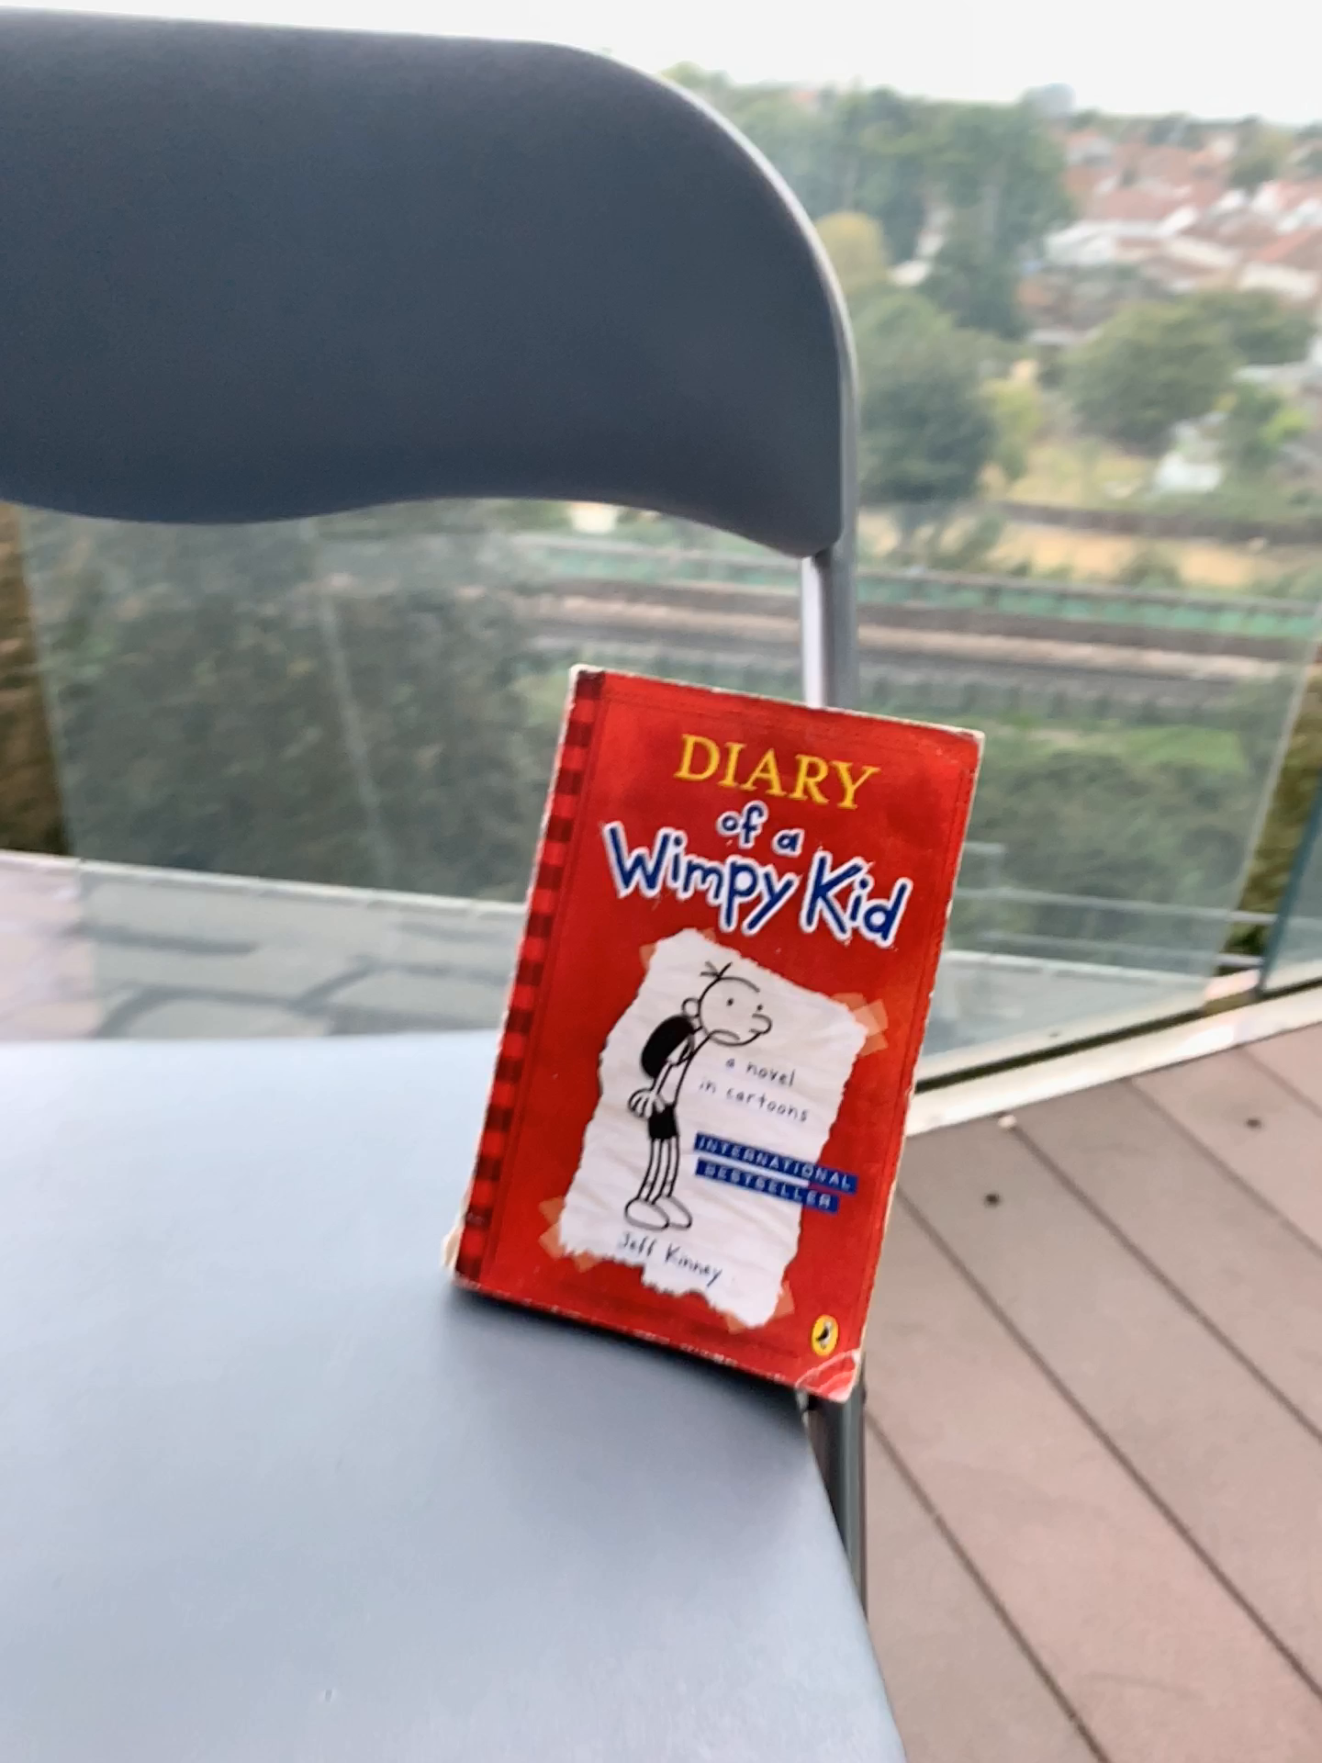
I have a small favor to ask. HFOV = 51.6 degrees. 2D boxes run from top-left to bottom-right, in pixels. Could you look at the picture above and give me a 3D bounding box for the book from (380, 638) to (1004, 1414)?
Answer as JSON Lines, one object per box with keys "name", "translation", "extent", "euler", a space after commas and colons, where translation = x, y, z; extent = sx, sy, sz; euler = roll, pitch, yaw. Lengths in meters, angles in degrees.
{"name": "book", "translation": [0.011, 0.038, 0.426], "extent": [0.150, 0.200, 0.040], "euler": [12, -2, 14]}
